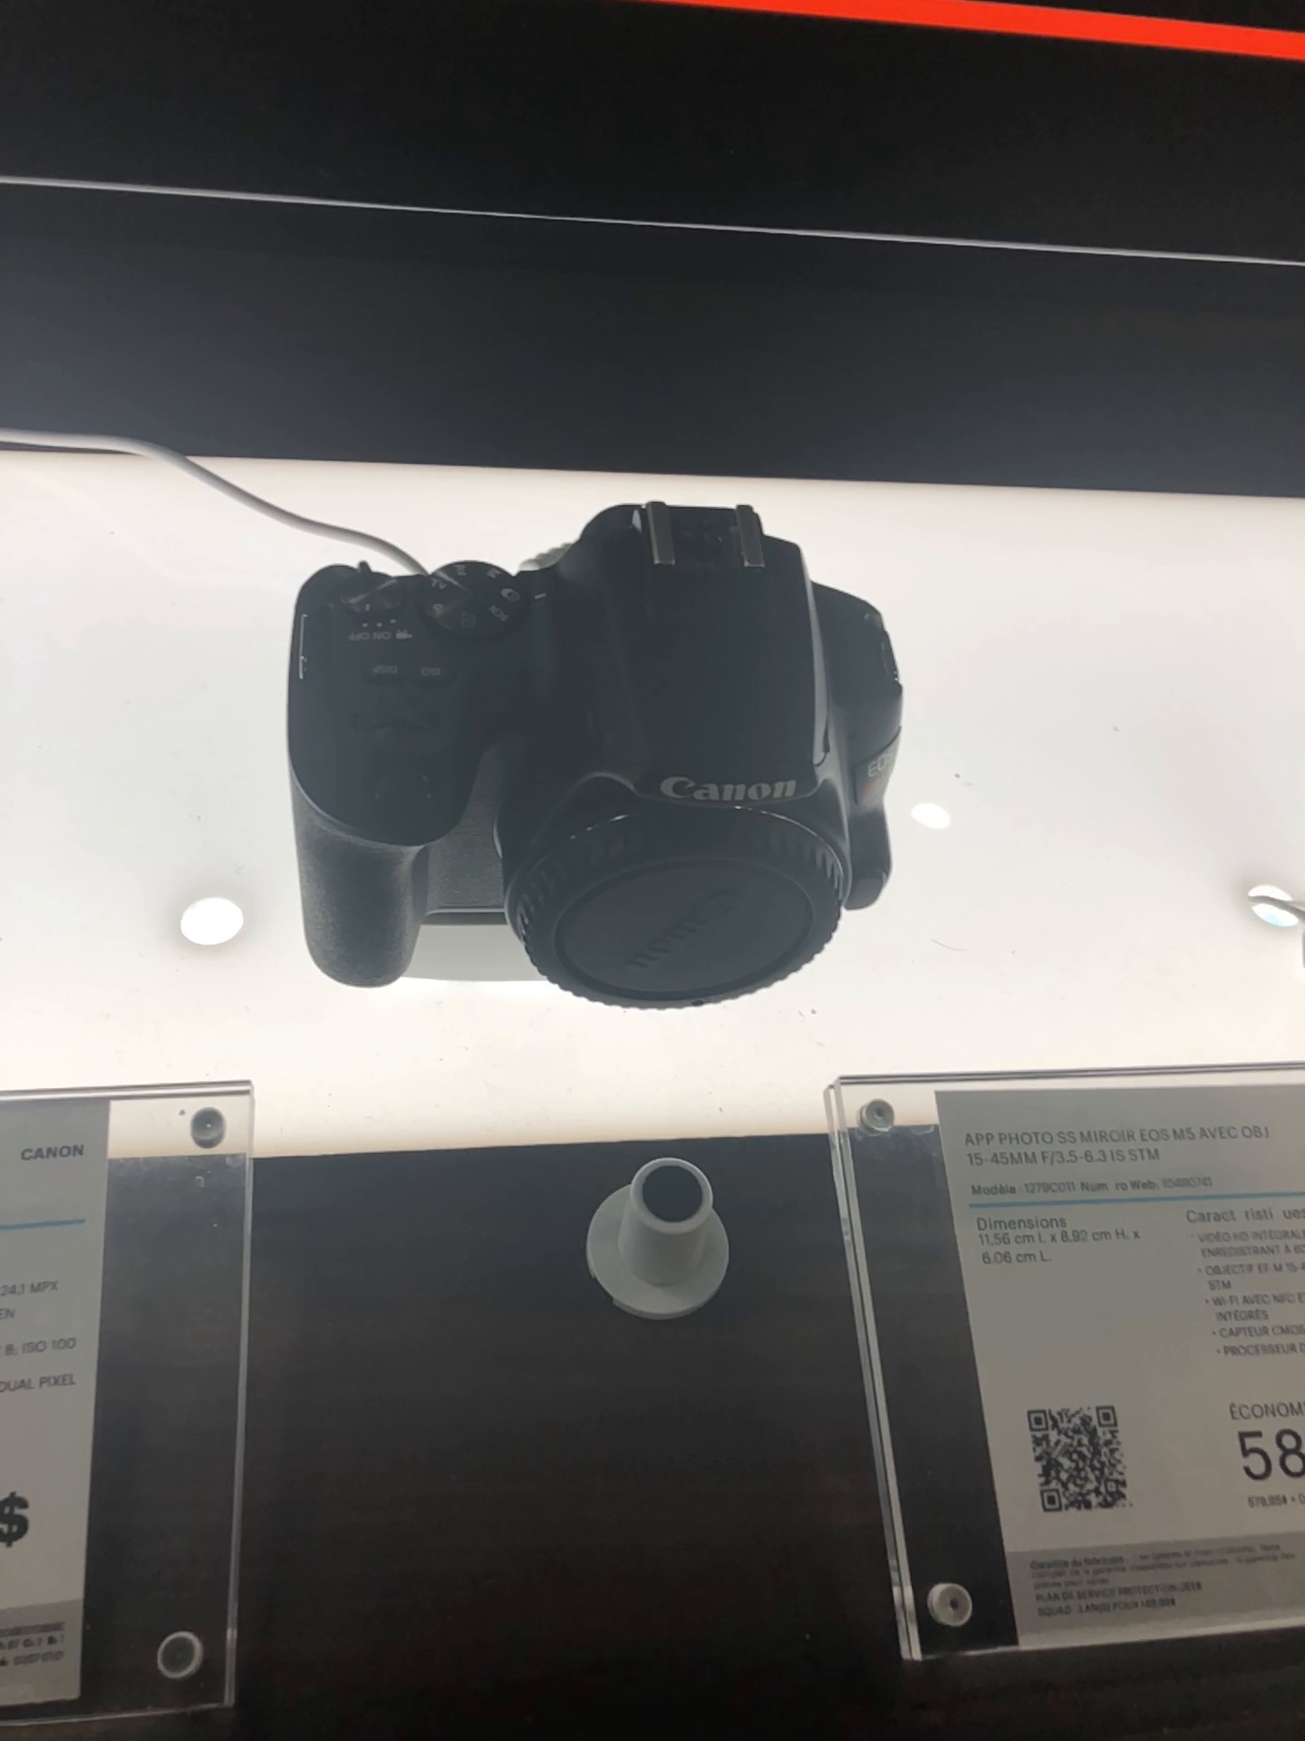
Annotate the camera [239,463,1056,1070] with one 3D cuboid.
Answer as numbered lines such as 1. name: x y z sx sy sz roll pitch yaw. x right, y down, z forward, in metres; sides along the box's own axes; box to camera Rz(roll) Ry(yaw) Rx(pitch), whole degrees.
1. camera: -0.007 -0.019 0.267 0.123 0.071 0.081 0 50 -10
